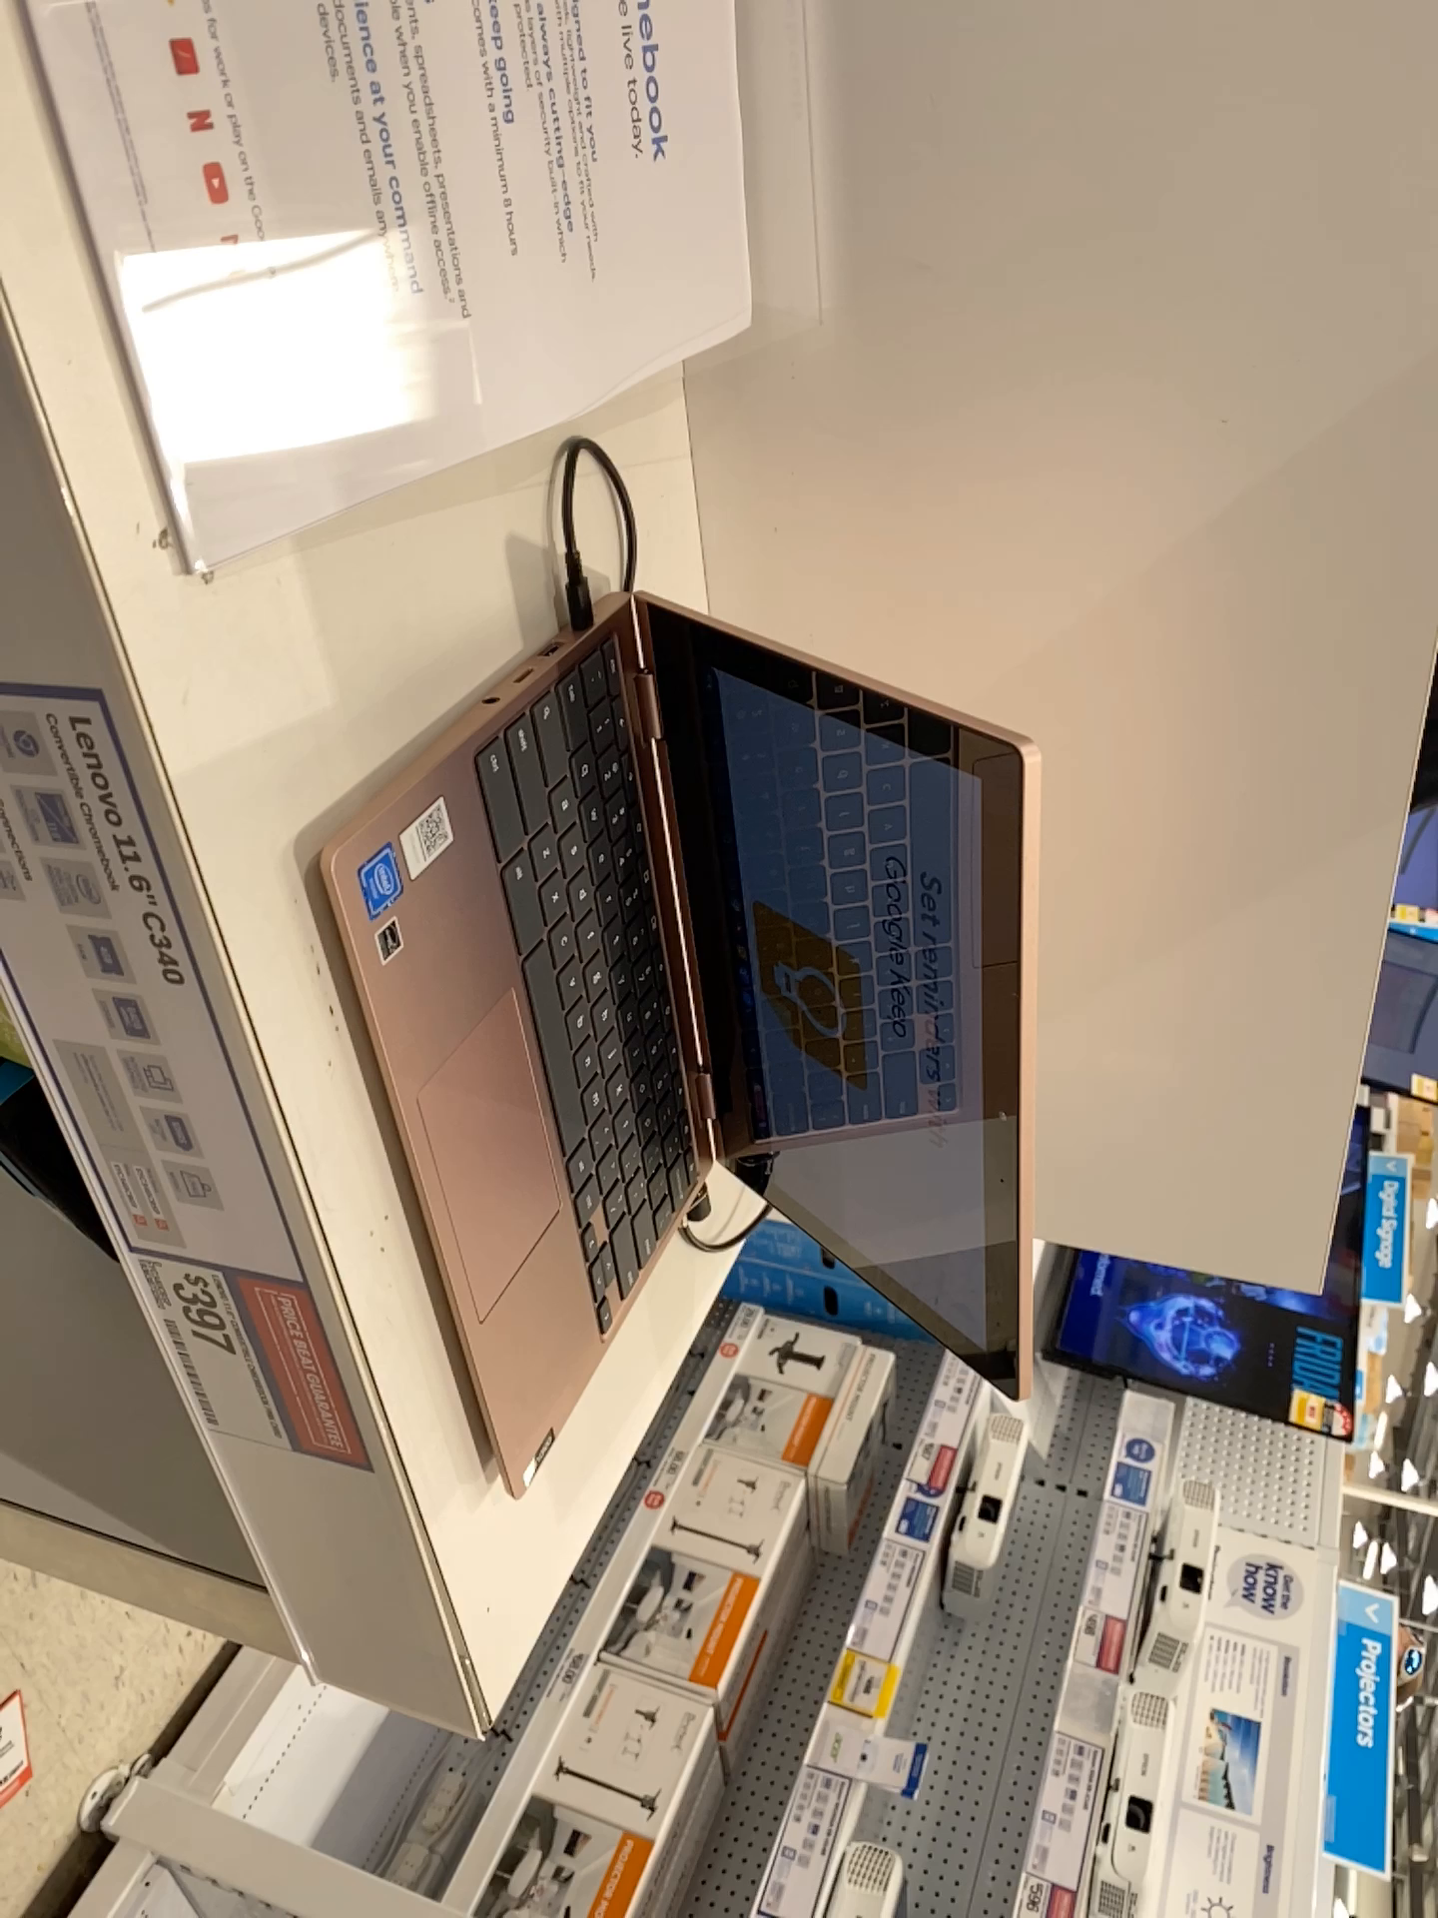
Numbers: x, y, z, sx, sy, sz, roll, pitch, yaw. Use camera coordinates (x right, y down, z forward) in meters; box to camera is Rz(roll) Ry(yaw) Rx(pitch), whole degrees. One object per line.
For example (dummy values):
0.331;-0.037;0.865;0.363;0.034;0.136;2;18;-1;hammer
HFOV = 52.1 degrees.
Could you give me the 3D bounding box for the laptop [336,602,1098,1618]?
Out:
0.026;0.045;0.523;0.196;0.168;0.281;-56;147;-49;laptop
